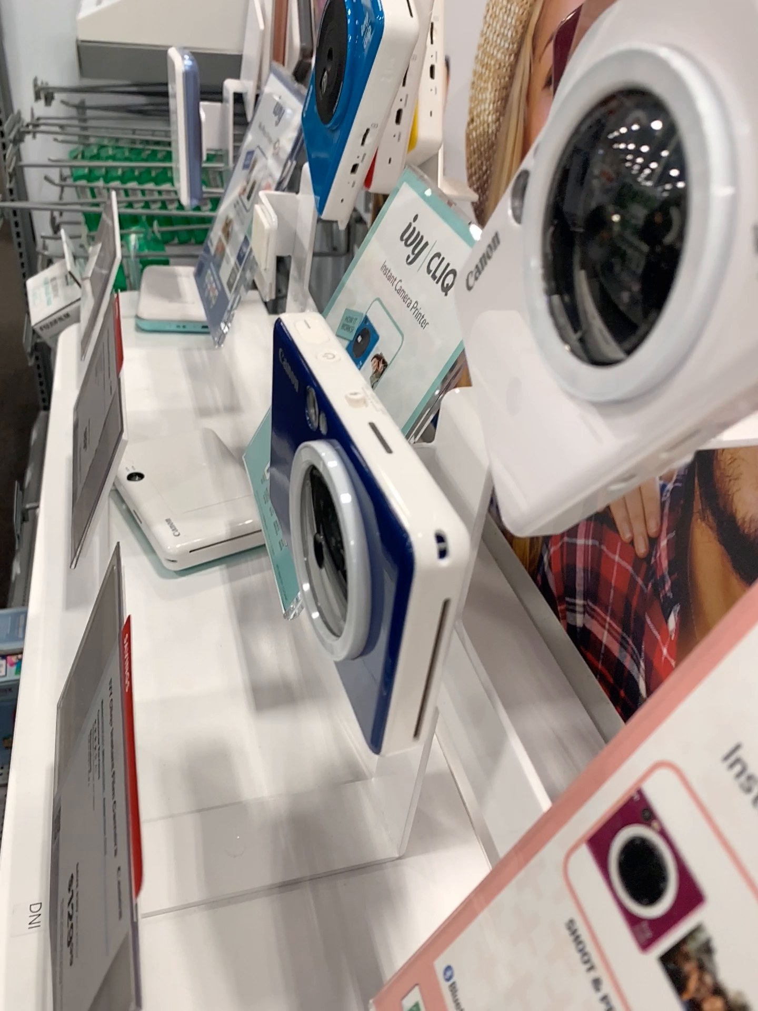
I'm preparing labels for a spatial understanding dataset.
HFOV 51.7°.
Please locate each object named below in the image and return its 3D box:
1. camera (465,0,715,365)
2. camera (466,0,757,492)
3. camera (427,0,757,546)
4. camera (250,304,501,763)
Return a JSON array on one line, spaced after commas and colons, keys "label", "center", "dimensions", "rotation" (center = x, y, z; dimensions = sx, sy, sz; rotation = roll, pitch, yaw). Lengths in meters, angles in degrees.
[{"label": "camera", "center": [0.060, -0.100, 0.235], "dimensions": [0.028, 0.110, 0.078], "rotation": [-9, 12, -19]}, {"label": "camera", "center": [0.060, -0.076, 0.199], "dimensions": [0.028, 0.119, 0.078], "rotation": [-8, 39, -19]}, {"label": "camera", "center": [0.049, -0.046, 0.162], "dimensions": [0.028, 0.120, 0.078], "rotation": [-4, 72, -17]}, {"label": "camera", "center": [-0.010, 0.000, 0.227], "dimensions": [0.028, 0.070, 0.121], "rotation": [-8, 39, -18]}]
